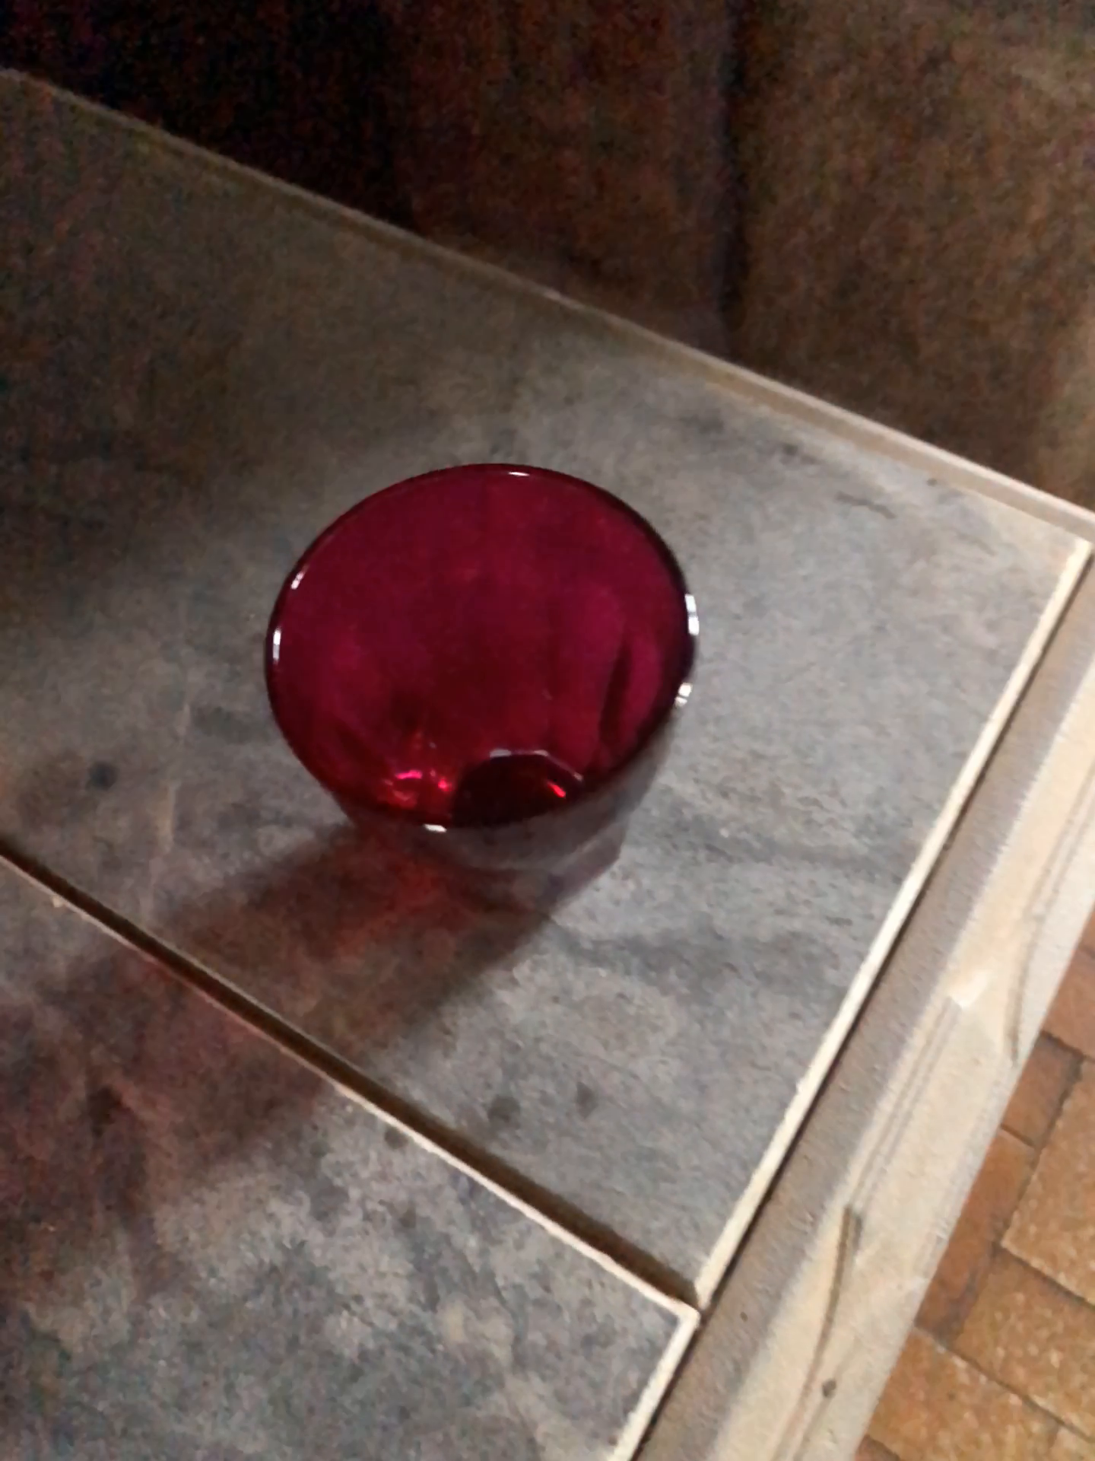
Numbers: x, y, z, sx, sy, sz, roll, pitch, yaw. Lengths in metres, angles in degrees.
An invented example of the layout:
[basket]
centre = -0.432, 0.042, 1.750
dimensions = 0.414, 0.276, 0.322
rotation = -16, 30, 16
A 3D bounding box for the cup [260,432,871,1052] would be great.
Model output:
[cup]
centre = 0.007, 0.005, 0.232
dimensions = 0.080, 0.080, 0.070
rotation = 17, 64, 12
